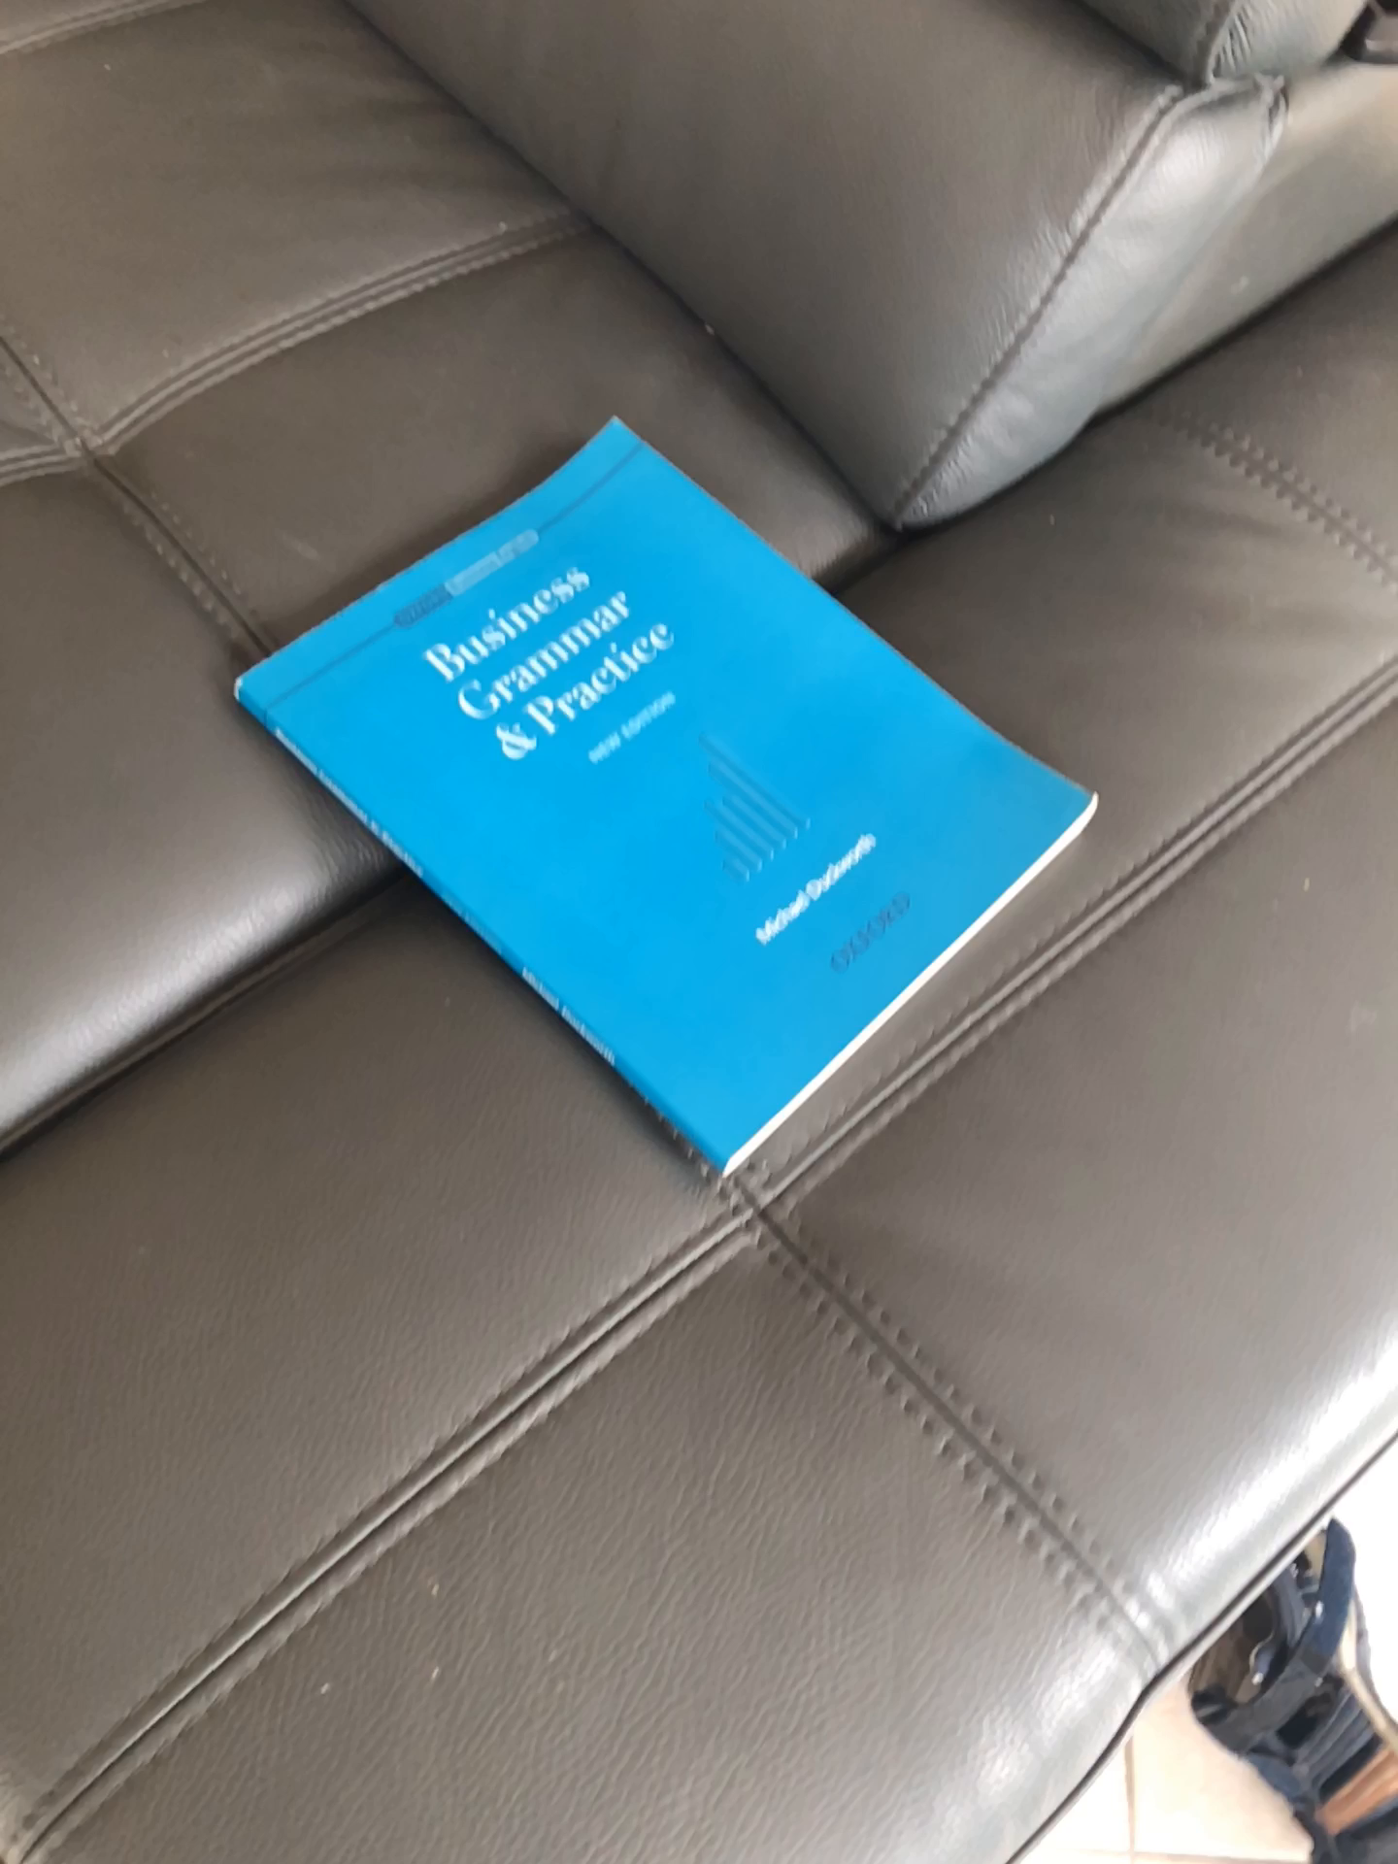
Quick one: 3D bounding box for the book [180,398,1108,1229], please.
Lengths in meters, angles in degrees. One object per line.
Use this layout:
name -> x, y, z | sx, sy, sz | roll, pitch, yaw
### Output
book -> -0.020, -0.064, 0.607 | 0.280, 0.020, 0.231 | 42, 69, 14
